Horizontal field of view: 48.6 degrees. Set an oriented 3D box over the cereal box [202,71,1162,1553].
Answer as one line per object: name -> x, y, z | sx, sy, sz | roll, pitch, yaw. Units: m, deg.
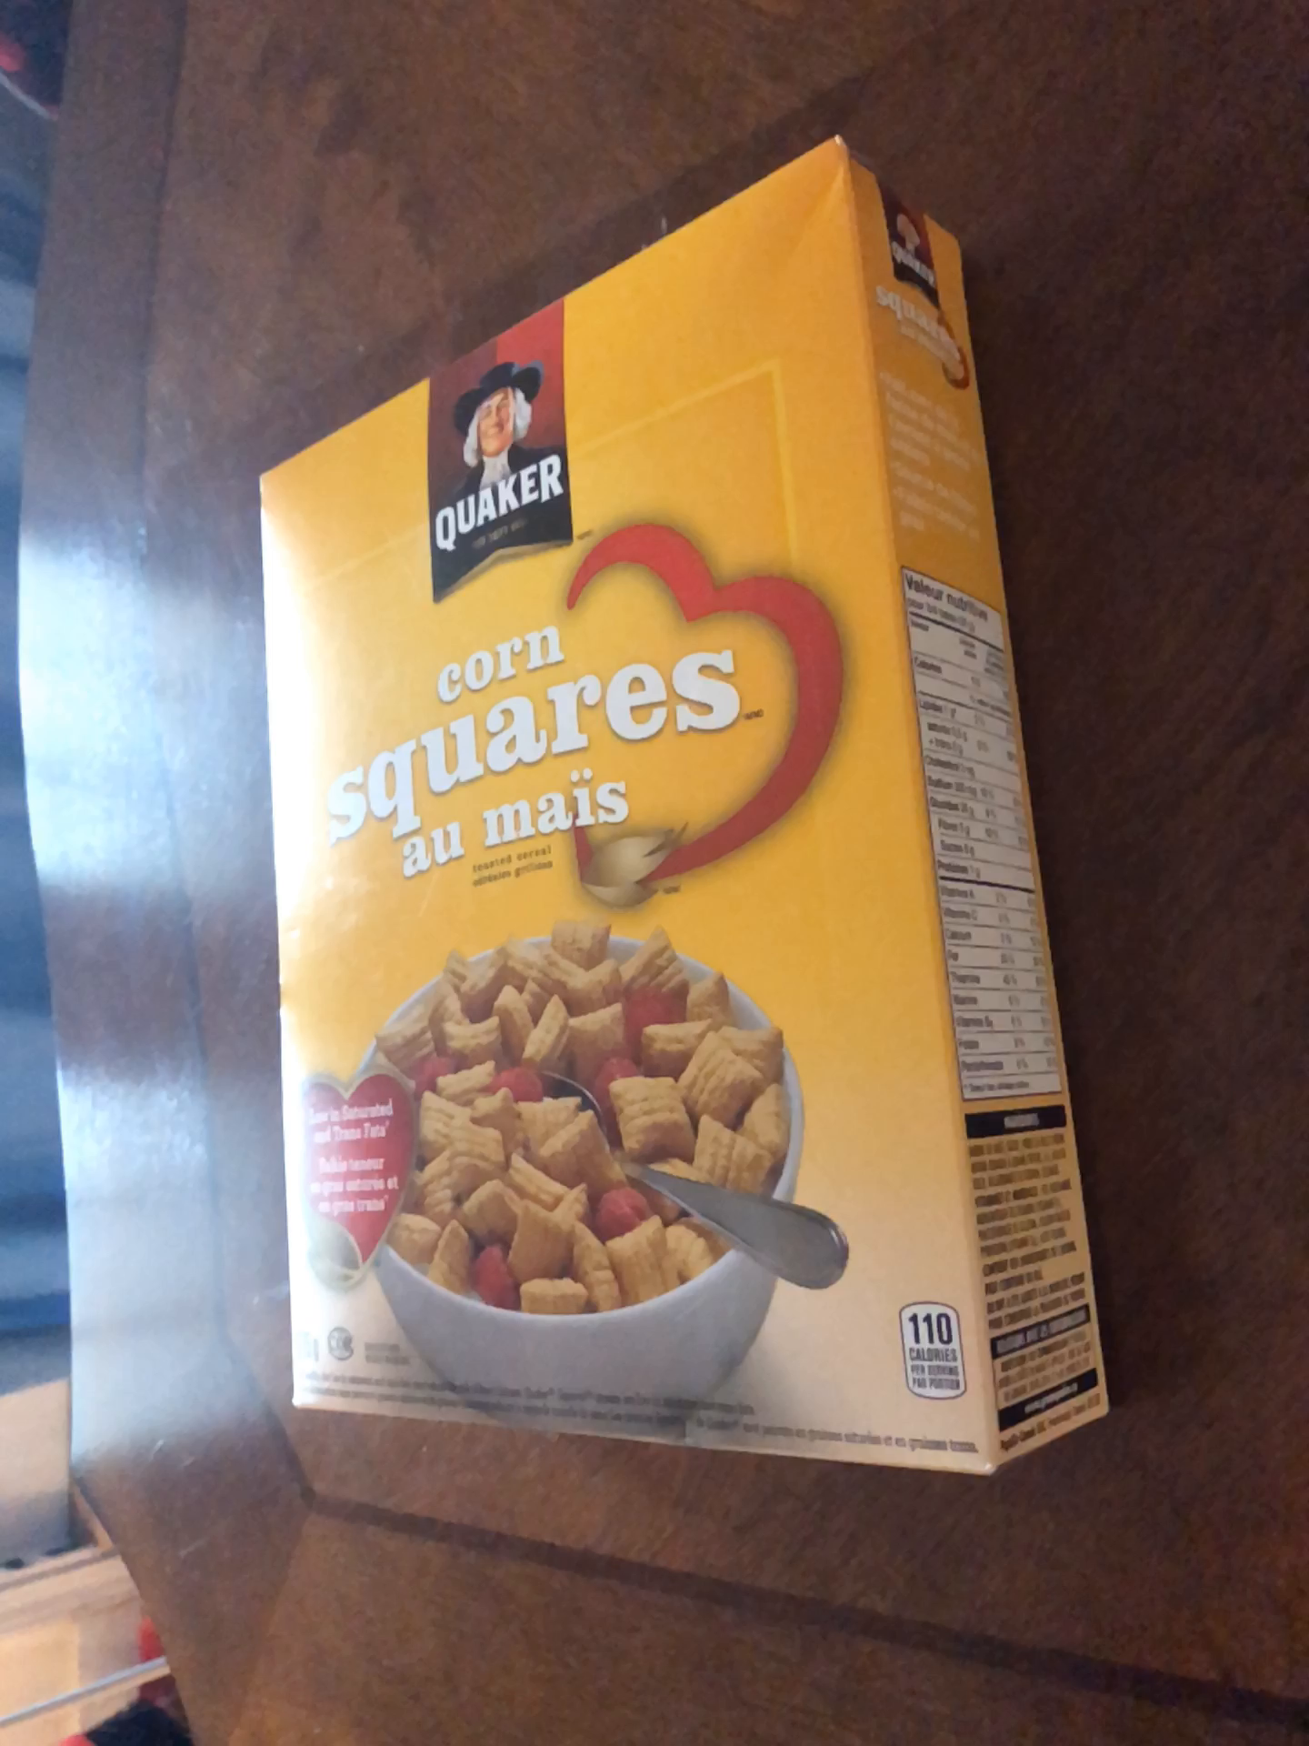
cereal box -> -0.017, -0.002, 0.344 | 0.221, 0.050, 0.270 | -12, 78, 37
